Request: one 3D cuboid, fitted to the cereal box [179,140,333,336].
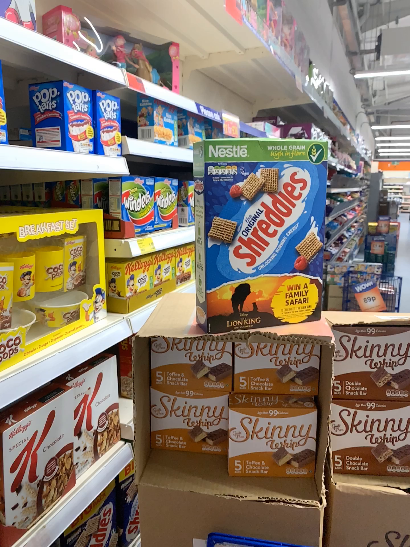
[{"bbox_3d":[0.076,-0.058,0.637,0.210,0.269,0.070,-5,13,-16],"label":"cereal box"}]
